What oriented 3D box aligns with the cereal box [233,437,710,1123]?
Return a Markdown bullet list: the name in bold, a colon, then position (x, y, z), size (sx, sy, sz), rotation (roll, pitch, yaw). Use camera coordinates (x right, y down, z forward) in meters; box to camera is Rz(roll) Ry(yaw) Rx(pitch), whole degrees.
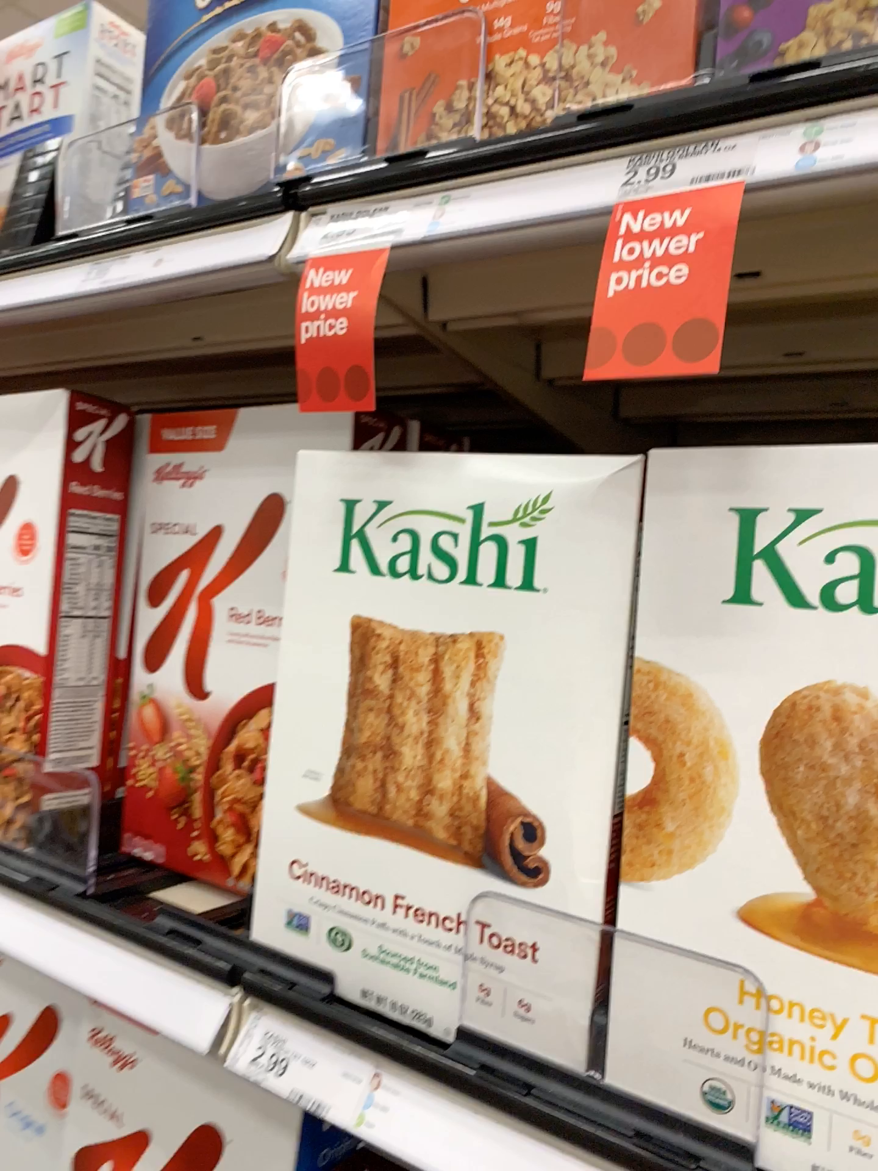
- **cereal box**: position (0.007, 0.070, 0.443), size (0.210, 0.270, 0.060), rotation (5, -1, 35)
